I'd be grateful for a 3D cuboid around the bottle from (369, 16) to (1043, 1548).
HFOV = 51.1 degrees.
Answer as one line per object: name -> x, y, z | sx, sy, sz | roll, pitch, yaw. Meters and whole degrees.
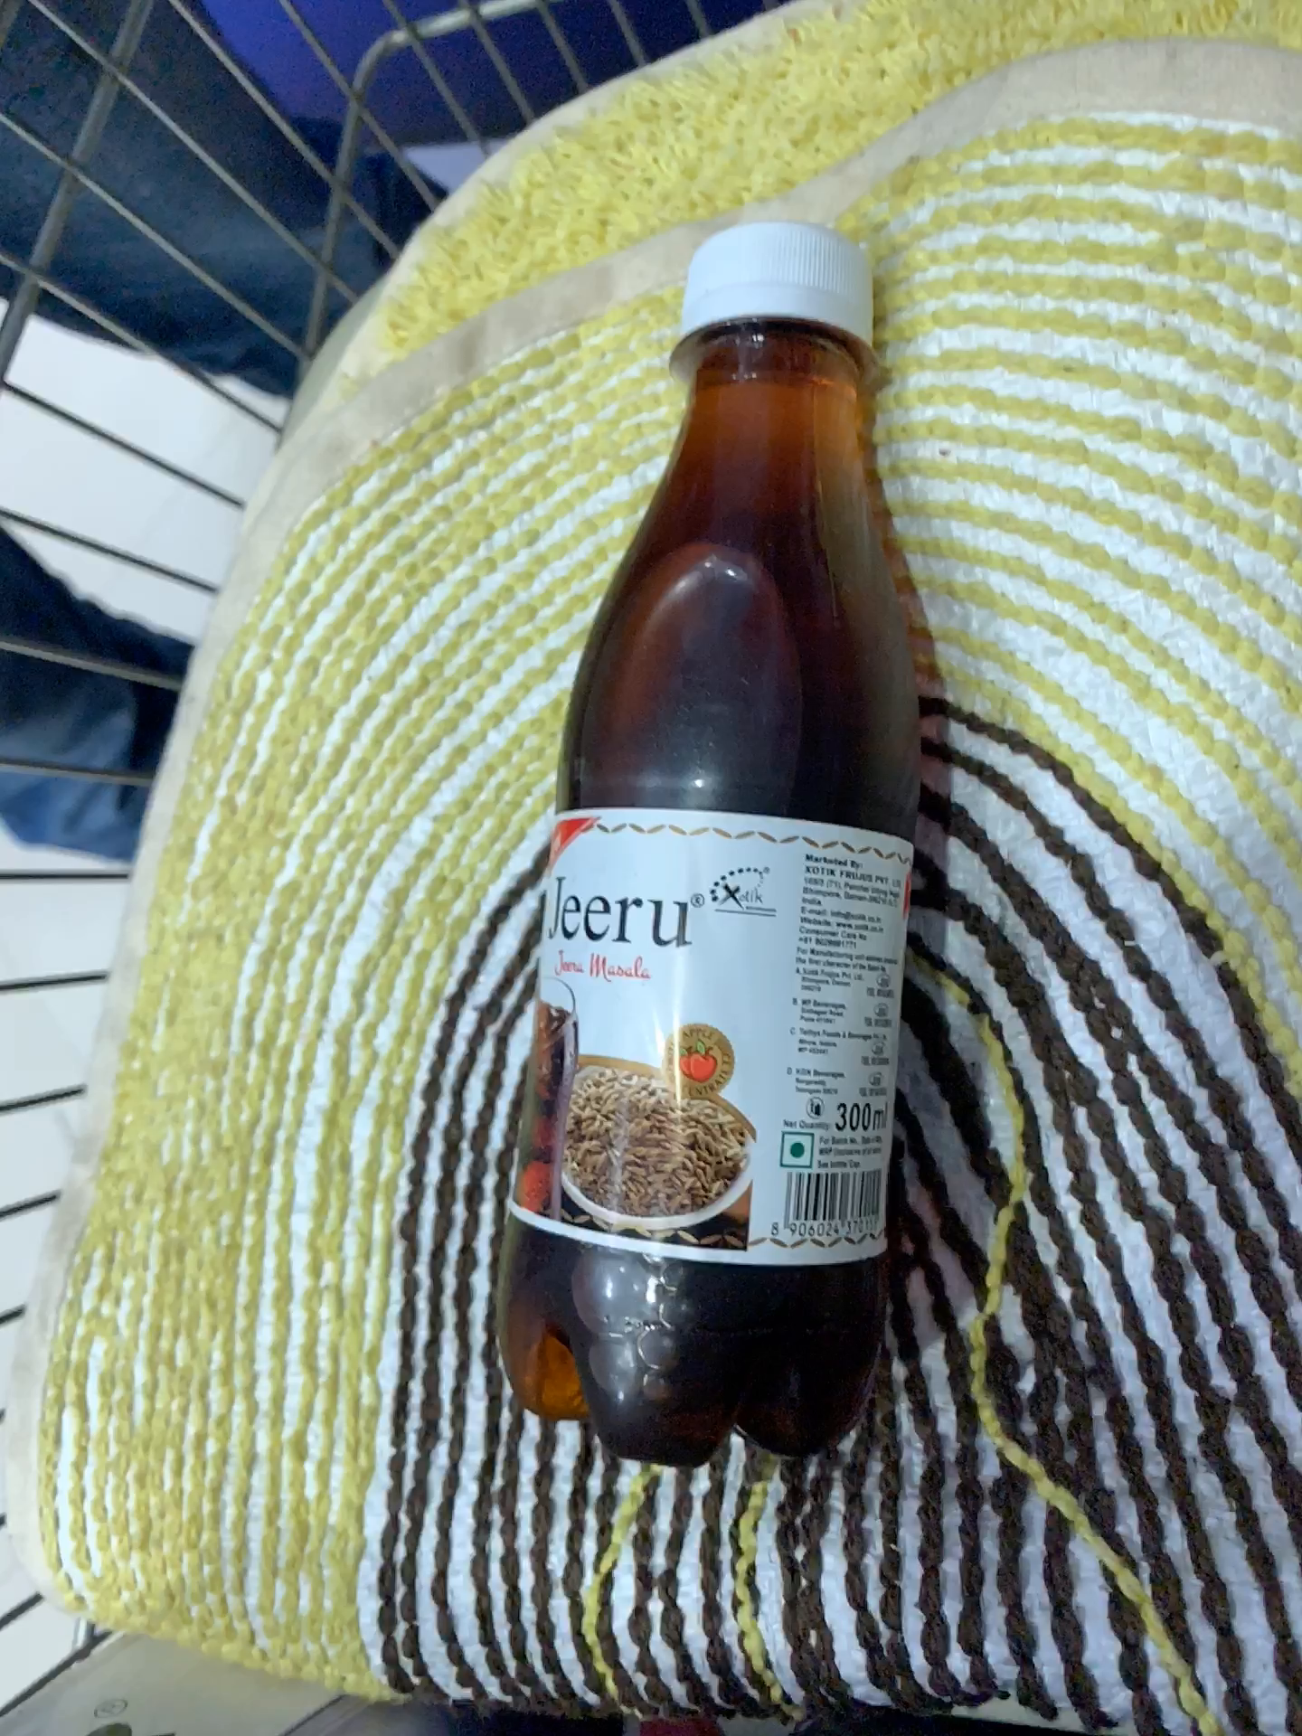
bottle -> 0.012, -0.011, 0.199 | 0.060, 0.060, 0.180 | 3, 85, 33
